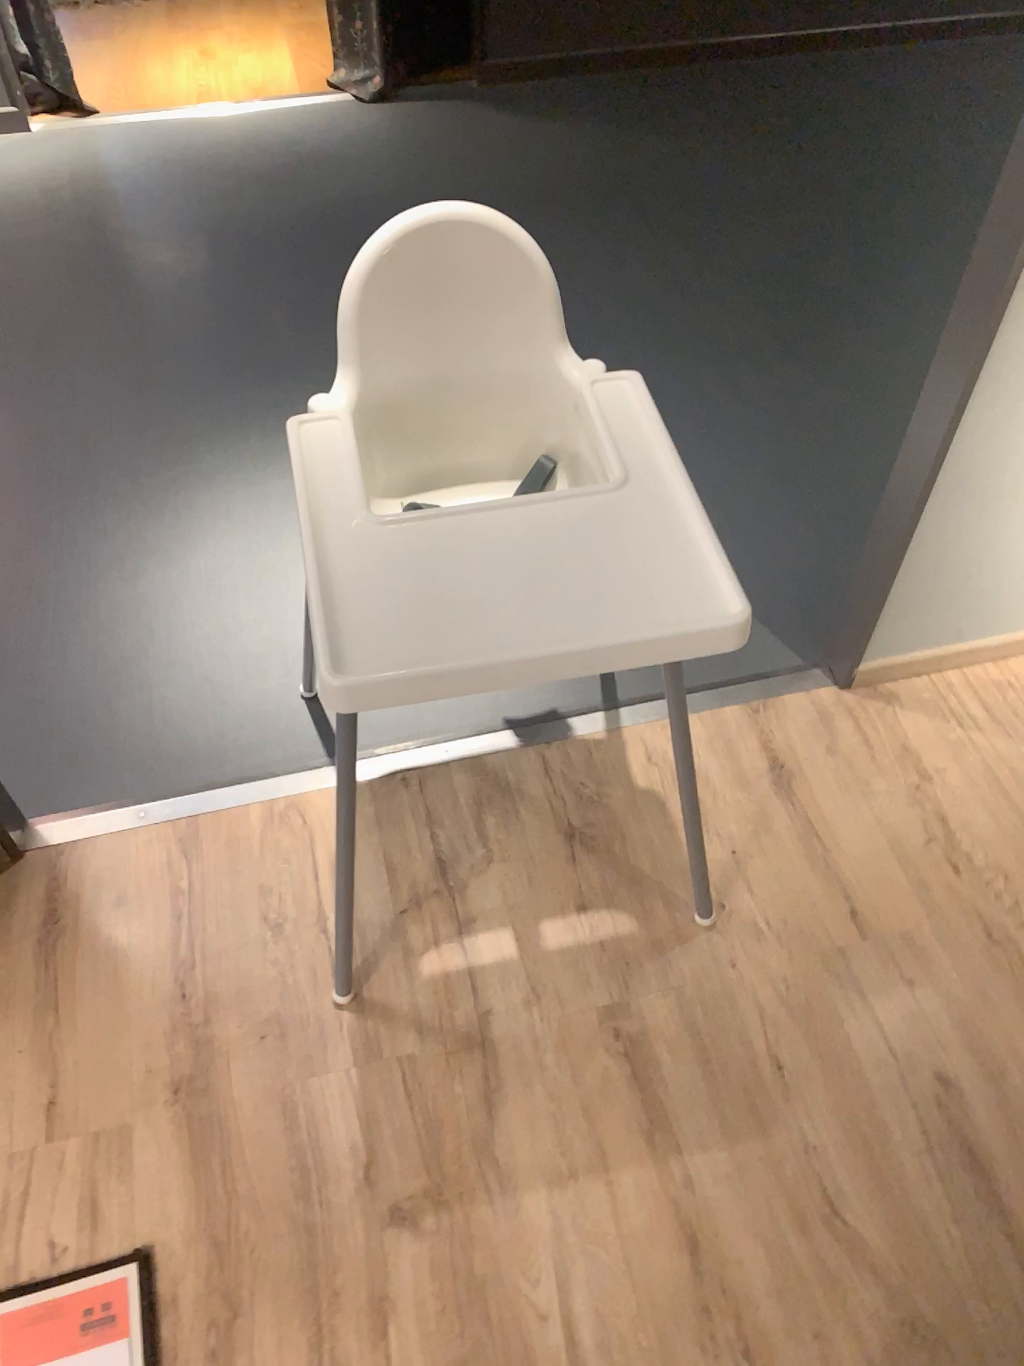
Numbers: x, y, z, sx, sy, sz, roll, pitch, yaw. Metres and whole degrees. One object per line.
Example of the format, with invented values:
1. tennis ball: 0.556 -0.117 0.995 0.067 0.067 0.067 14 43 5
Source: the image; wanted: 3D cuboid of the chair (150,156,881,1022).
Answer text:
1. chair: -0.049 -0.085 1.311 0.570 0.798 0.622 -11 52 -9
